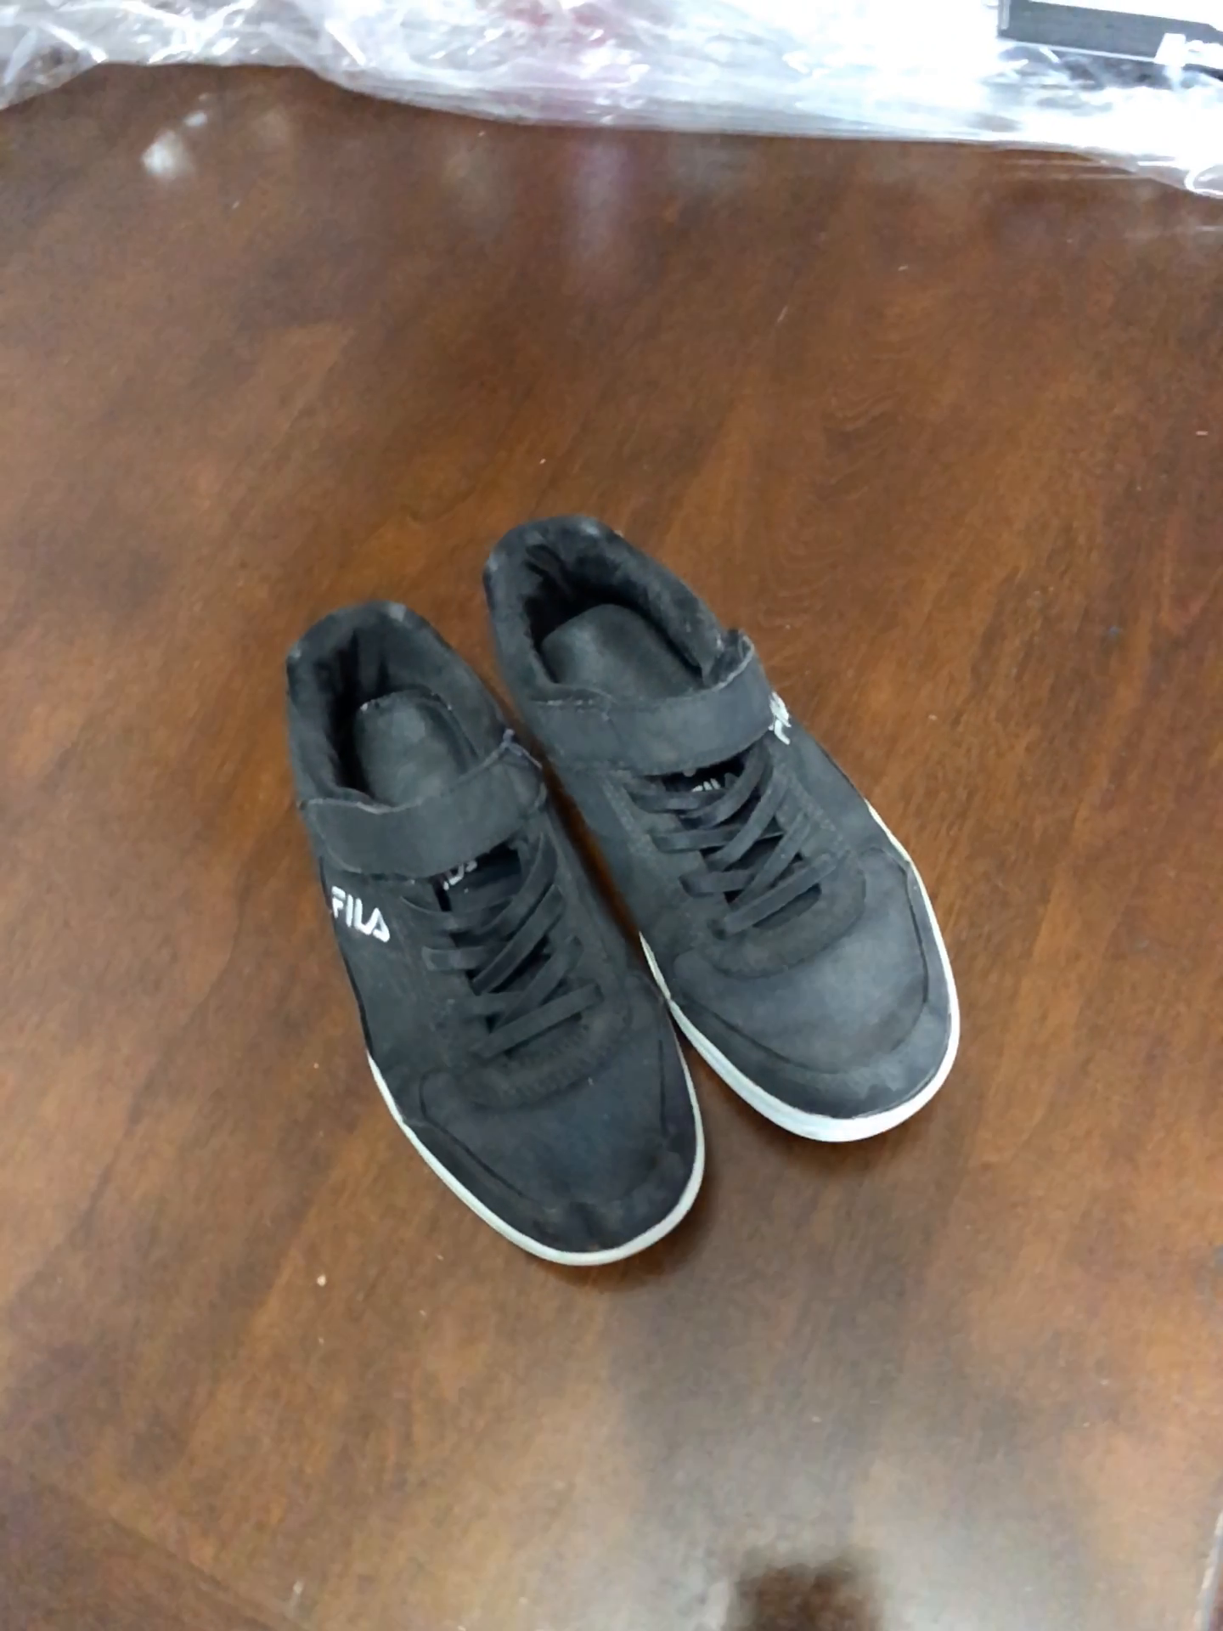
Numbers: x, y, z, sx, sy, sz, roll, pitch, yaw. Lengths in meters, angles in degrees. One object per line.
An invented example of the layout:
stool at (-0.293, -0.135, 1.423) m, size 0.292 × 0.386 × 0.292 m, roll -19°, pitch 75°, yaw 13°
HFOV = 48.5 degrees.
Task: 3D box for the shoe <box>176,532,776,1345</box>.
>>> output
shoe at (-0.043, 0.030, 0.403) m, size 0.090 × 0.080 × 0.210 m, roll -26°, pitch 60°, yaw -5°

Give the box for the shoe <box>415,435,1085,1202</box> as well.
shoe at (0.033, -0.006, 0.416) m, size 0.090 × 0.080 × 0.210 m, roll -30°, pitch 60°, yaw -7°
